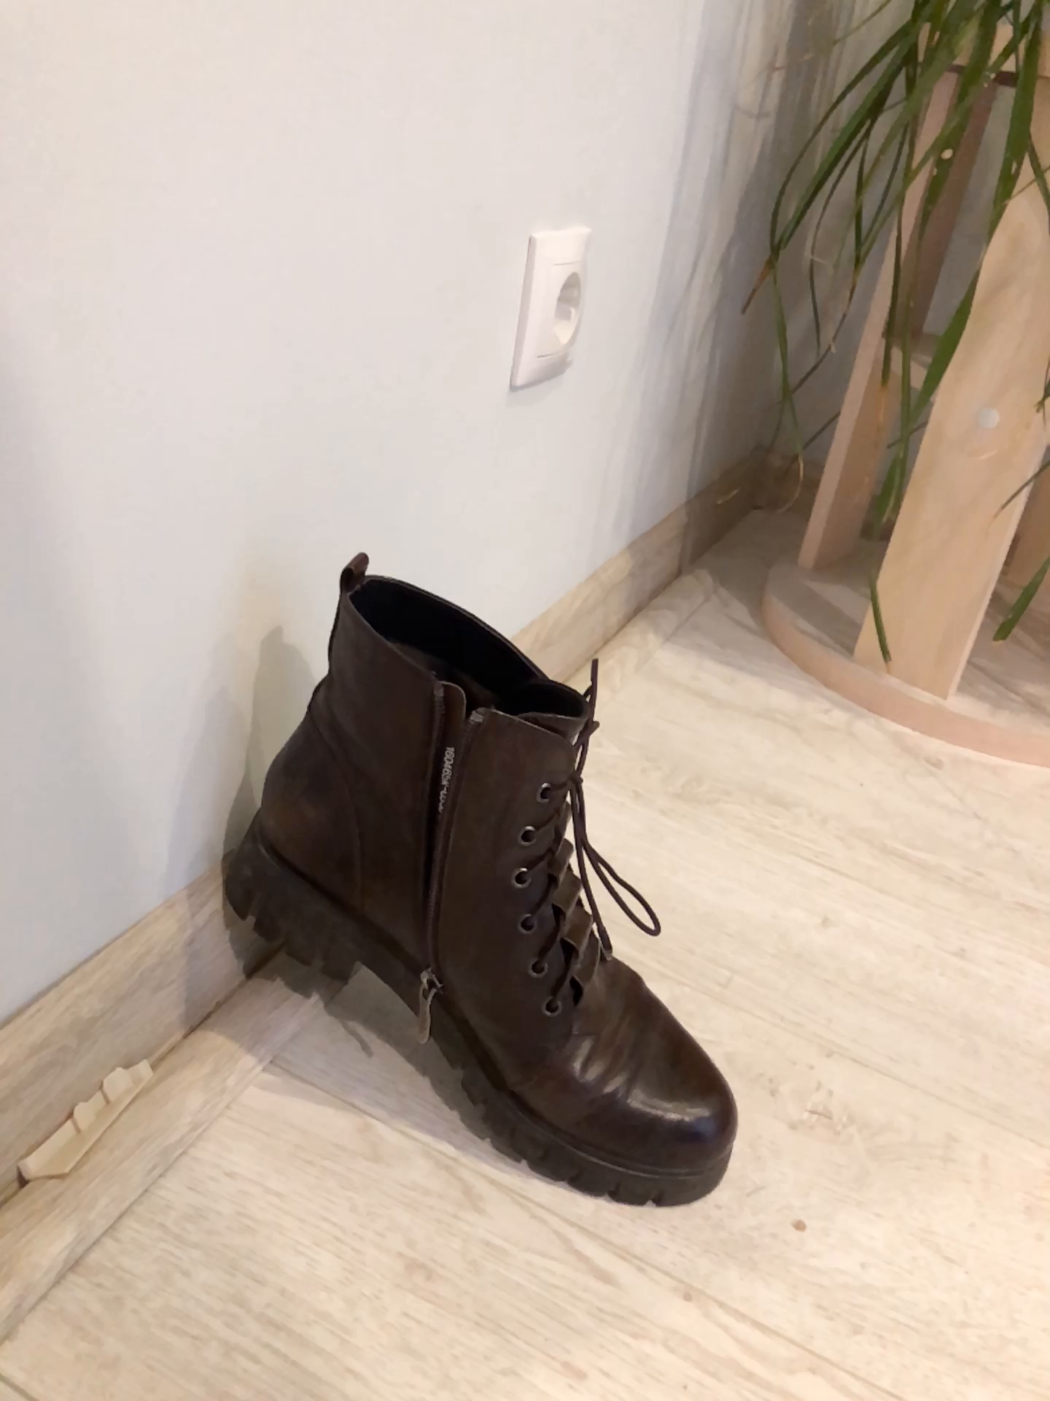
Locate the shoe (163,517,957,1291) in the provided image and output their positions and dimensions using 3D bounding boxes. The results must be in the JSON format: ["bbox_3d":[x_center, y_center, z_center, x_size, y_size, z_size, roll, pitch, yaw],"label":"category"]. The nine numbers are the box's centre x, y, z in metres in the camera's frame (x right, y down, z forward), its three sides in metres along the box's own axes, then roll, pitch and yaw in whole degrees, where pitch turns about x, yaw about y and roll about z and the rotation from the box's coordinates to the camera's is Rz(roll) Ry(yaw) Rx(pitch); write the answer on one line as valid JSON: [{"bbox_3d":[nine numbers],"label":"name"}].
[{"bbox_3d":[0.006,0.082,0.478,0.260,0.179,0.101,35,34,7],"label":"shoe"}]
